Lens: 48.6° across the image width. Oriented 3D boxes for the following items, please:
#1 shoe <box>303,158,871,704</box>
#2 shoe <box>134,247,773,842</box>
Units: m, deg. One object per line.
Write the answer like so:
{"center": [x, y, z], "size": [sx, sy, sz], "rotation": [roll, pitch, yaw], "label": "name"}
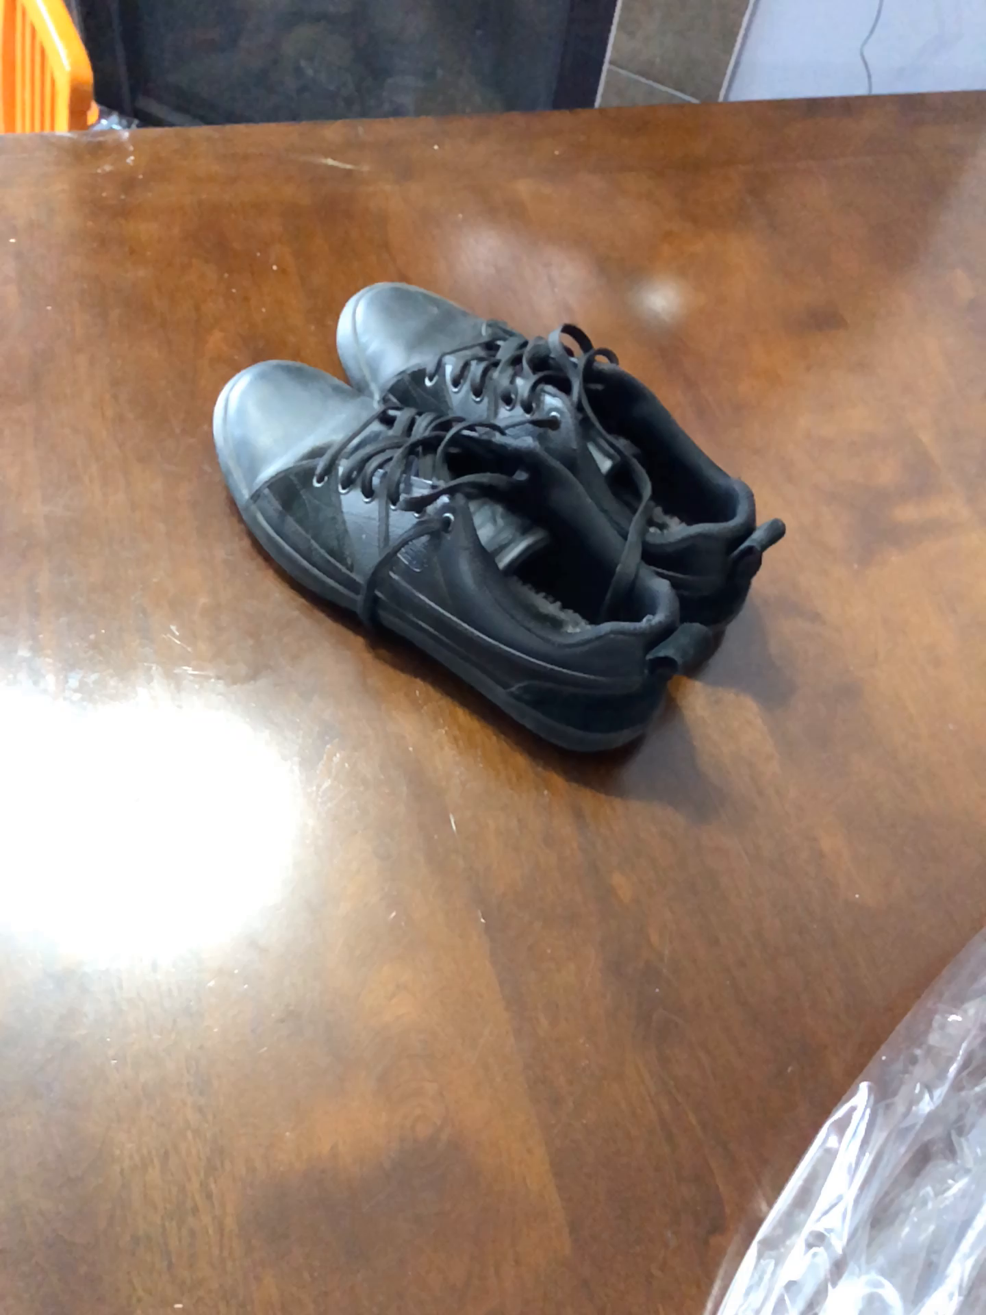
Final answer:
{"center": [0.035, -0.132, 0.605], "size": [0.110, 0.110, 0.300], "rotation": [-37, 70, -28], "label": "shoe"}
{"center": [-0.030, -0.063, 0.551], "size": [0.300, 0.110, 0.110], "rotation": [39, 60, 16], "label": "shoe"}
